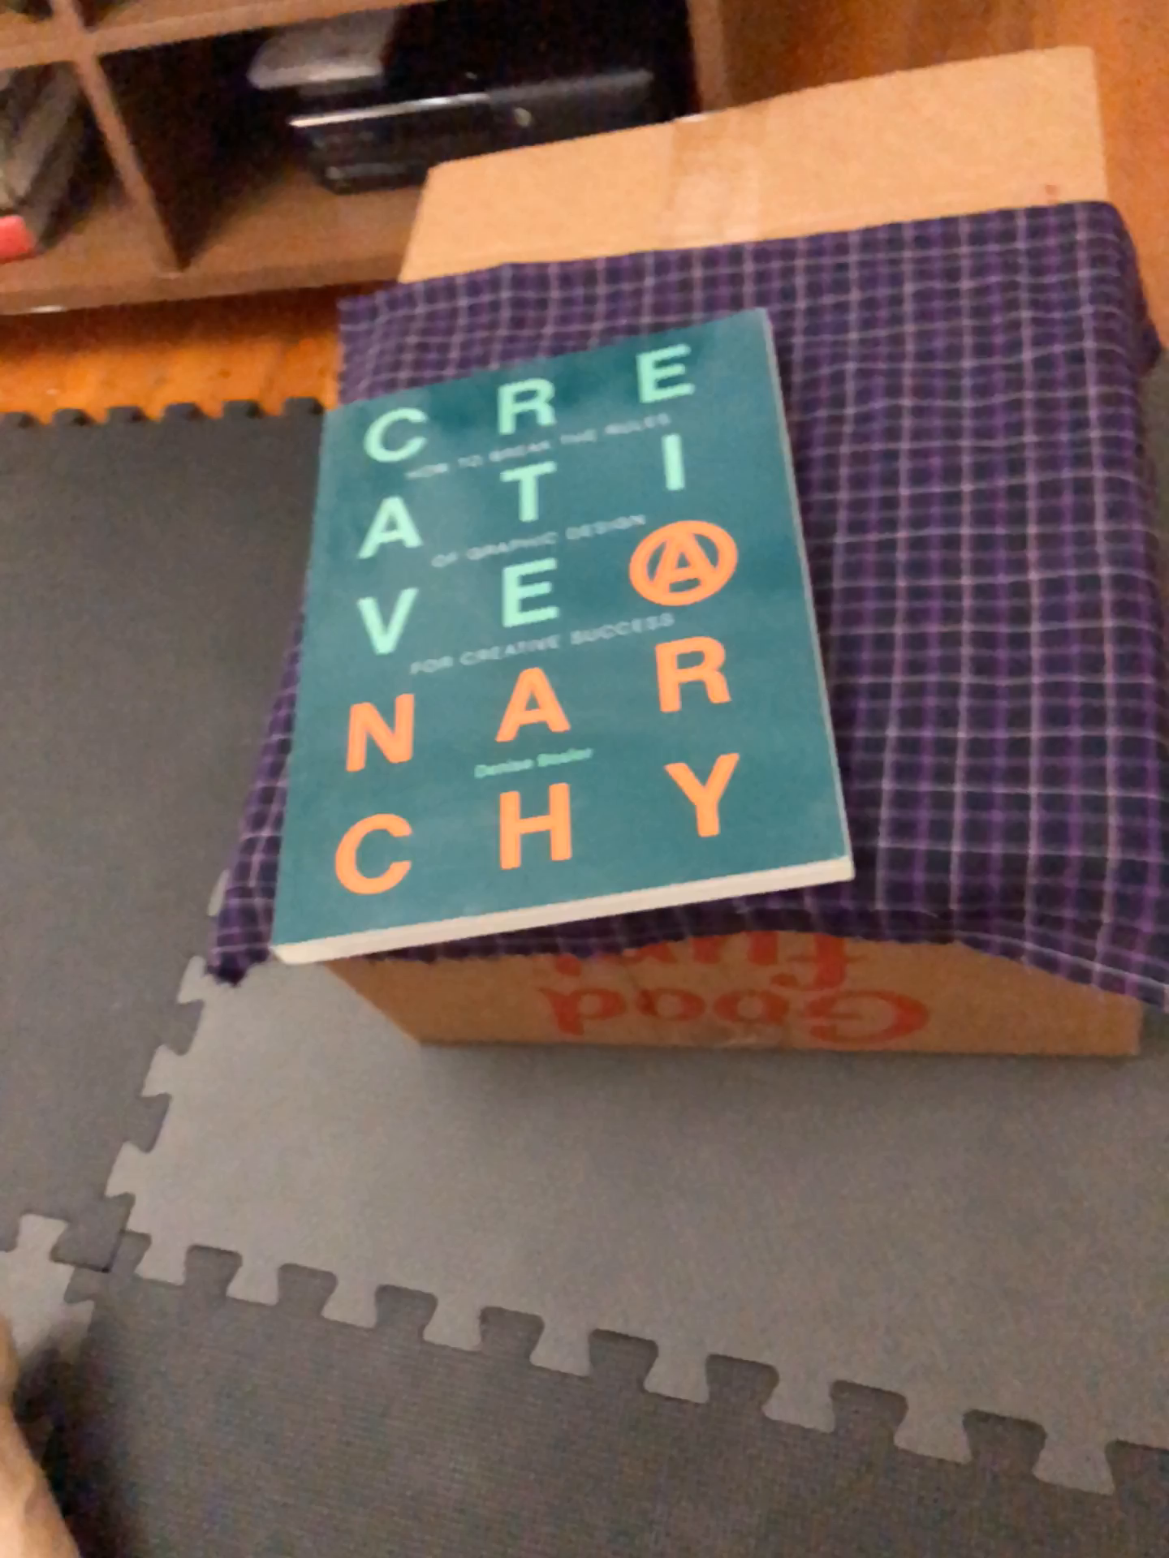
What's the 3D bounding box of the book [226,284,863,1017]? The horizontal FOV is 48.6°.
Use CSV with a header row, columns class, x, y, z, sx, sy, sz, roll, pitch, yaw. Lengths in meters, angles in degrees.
class,x,y,z,sx,sy,sz,roll,pitch,yaw
book,-0.023,-0.065,0.519,0.220,0.020,0.301,-10,57,12
